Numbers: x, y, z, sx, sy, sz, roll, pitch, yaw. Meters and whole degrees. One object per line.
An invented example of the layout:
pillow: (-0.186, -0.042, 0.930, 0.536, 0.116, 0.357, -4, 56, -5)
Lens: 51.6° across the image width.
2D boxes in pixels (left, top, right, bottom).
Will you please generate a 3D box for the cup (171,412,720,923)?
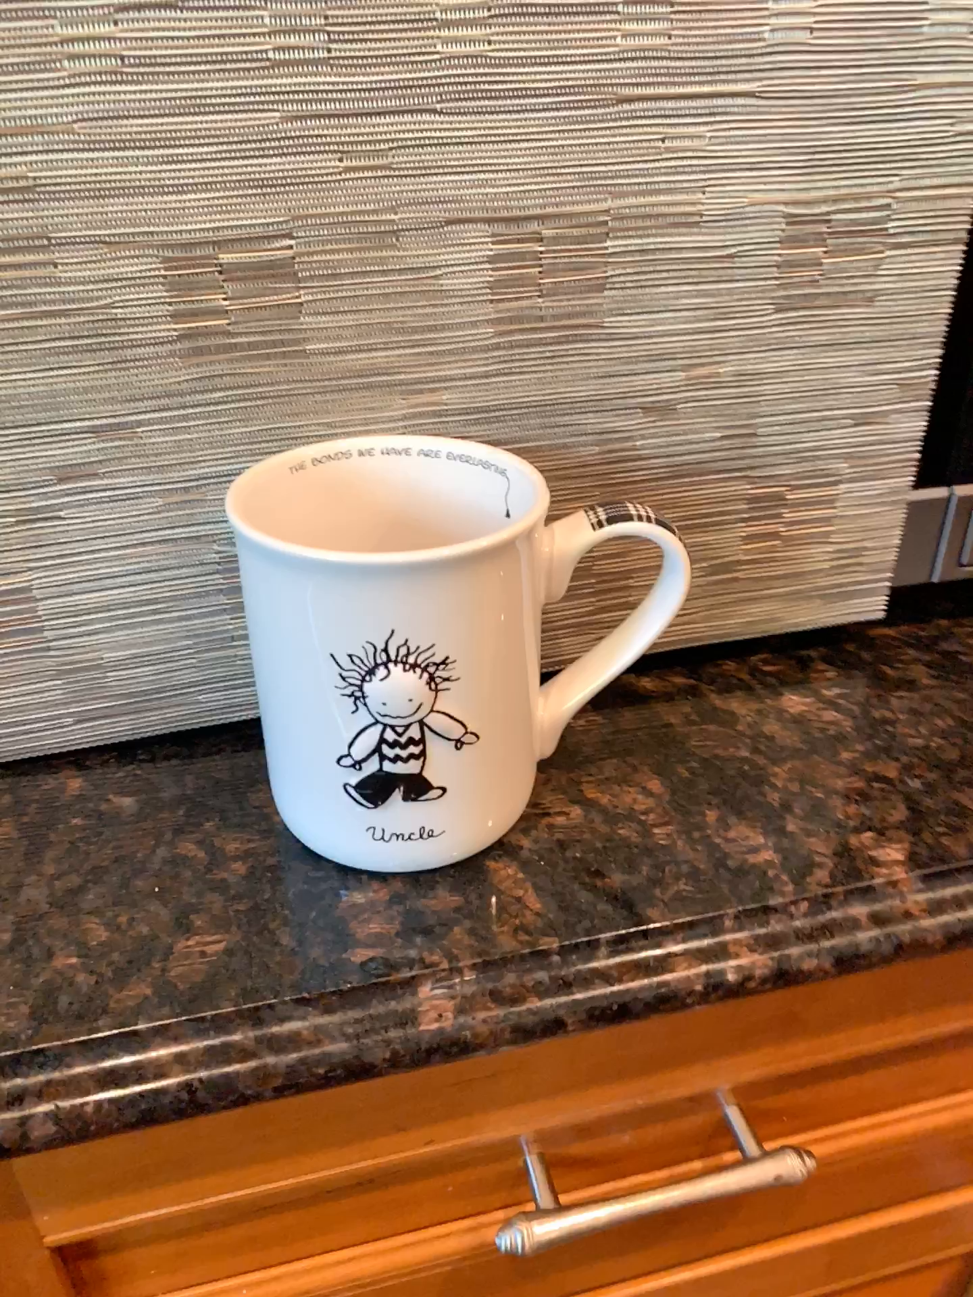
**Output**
cup: (-0.015, 0.000, 0.307, 0.130, 0.109, 0.101, -4, 30, -7)
